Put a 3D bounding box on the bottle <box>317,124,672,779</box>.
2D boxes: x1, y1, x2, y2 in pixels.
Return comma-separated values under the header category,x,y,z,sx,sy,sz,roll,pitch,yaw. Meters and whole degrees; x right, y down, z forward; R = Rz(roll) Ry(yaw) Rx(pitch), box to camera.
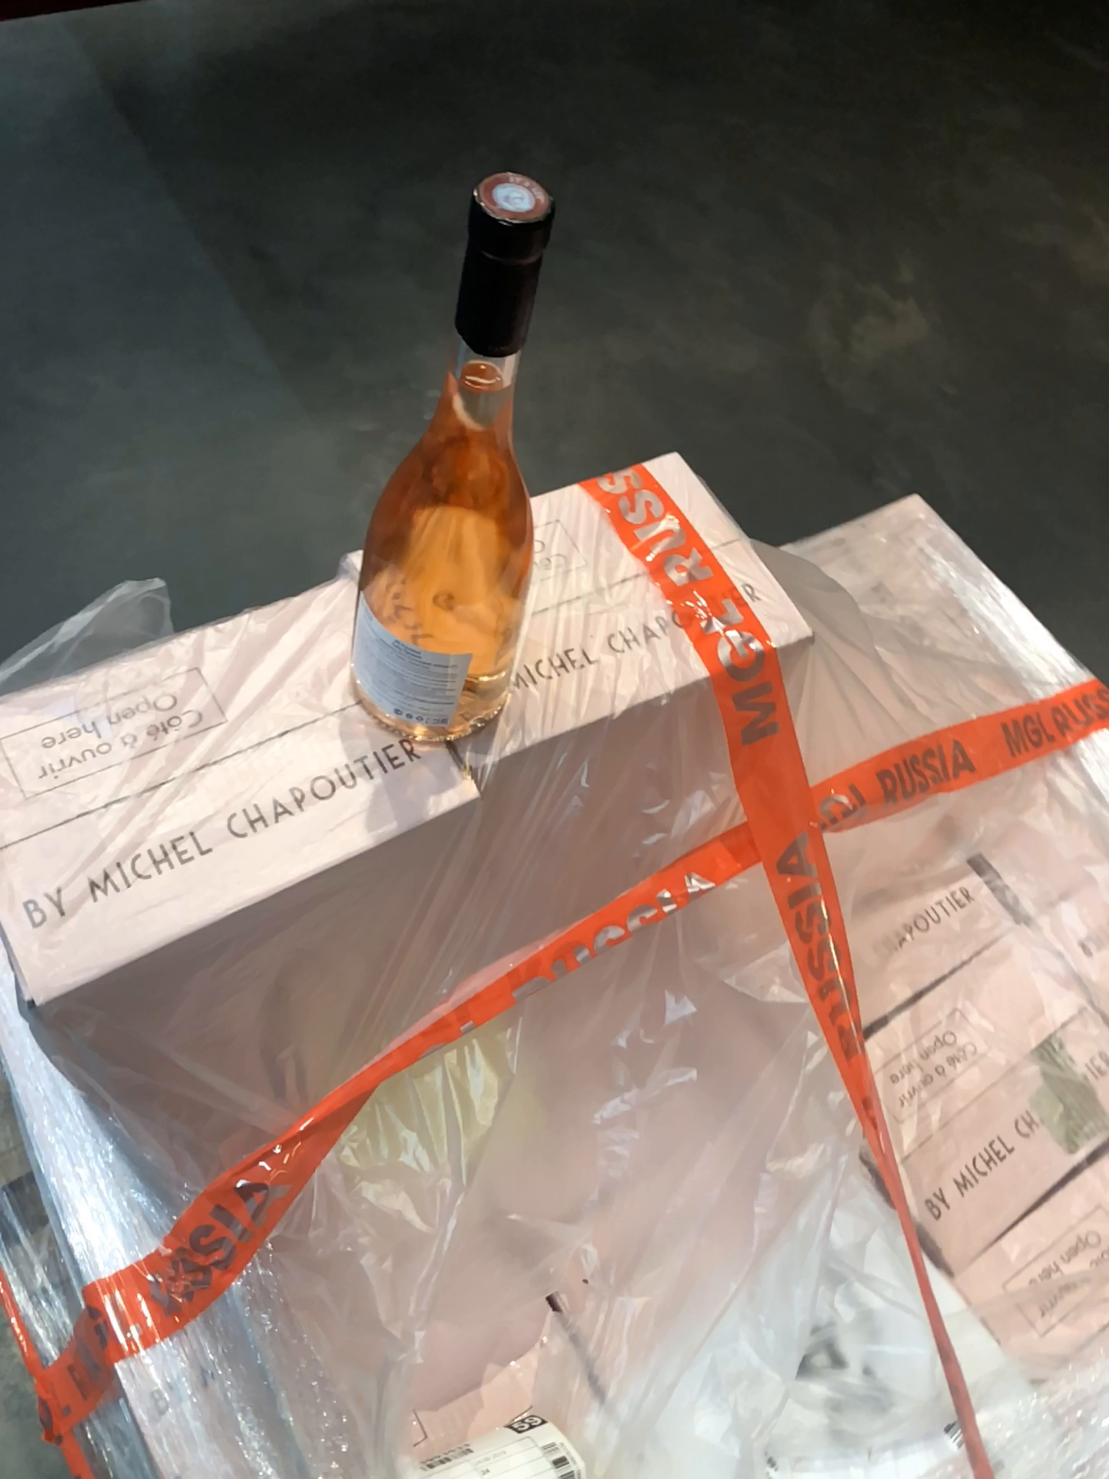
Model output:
category,x,y,z,sx,sy,sz,roll,pitch,yaw
bottle,-0.041,-0.106,0.552,0.096,0.279,0.100,5,59,-8
